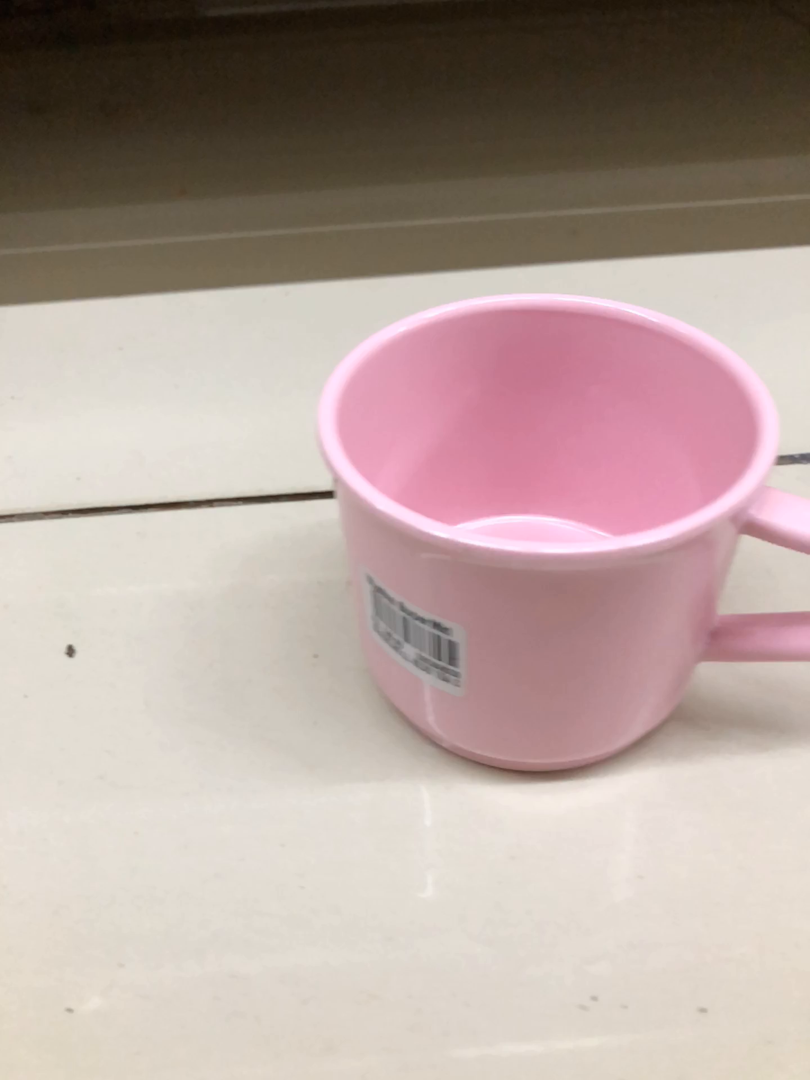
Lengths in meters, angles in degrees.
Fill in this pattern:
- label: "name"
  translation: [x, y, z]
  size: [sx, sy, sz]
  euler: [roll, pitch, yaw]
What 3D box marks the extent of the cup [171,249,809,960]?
- label: "cup"
  translation: [0.031, 0.005, 0.181]
  size: [0.110, 0.079, 0.081]
  euler: [18, 46, 23]
